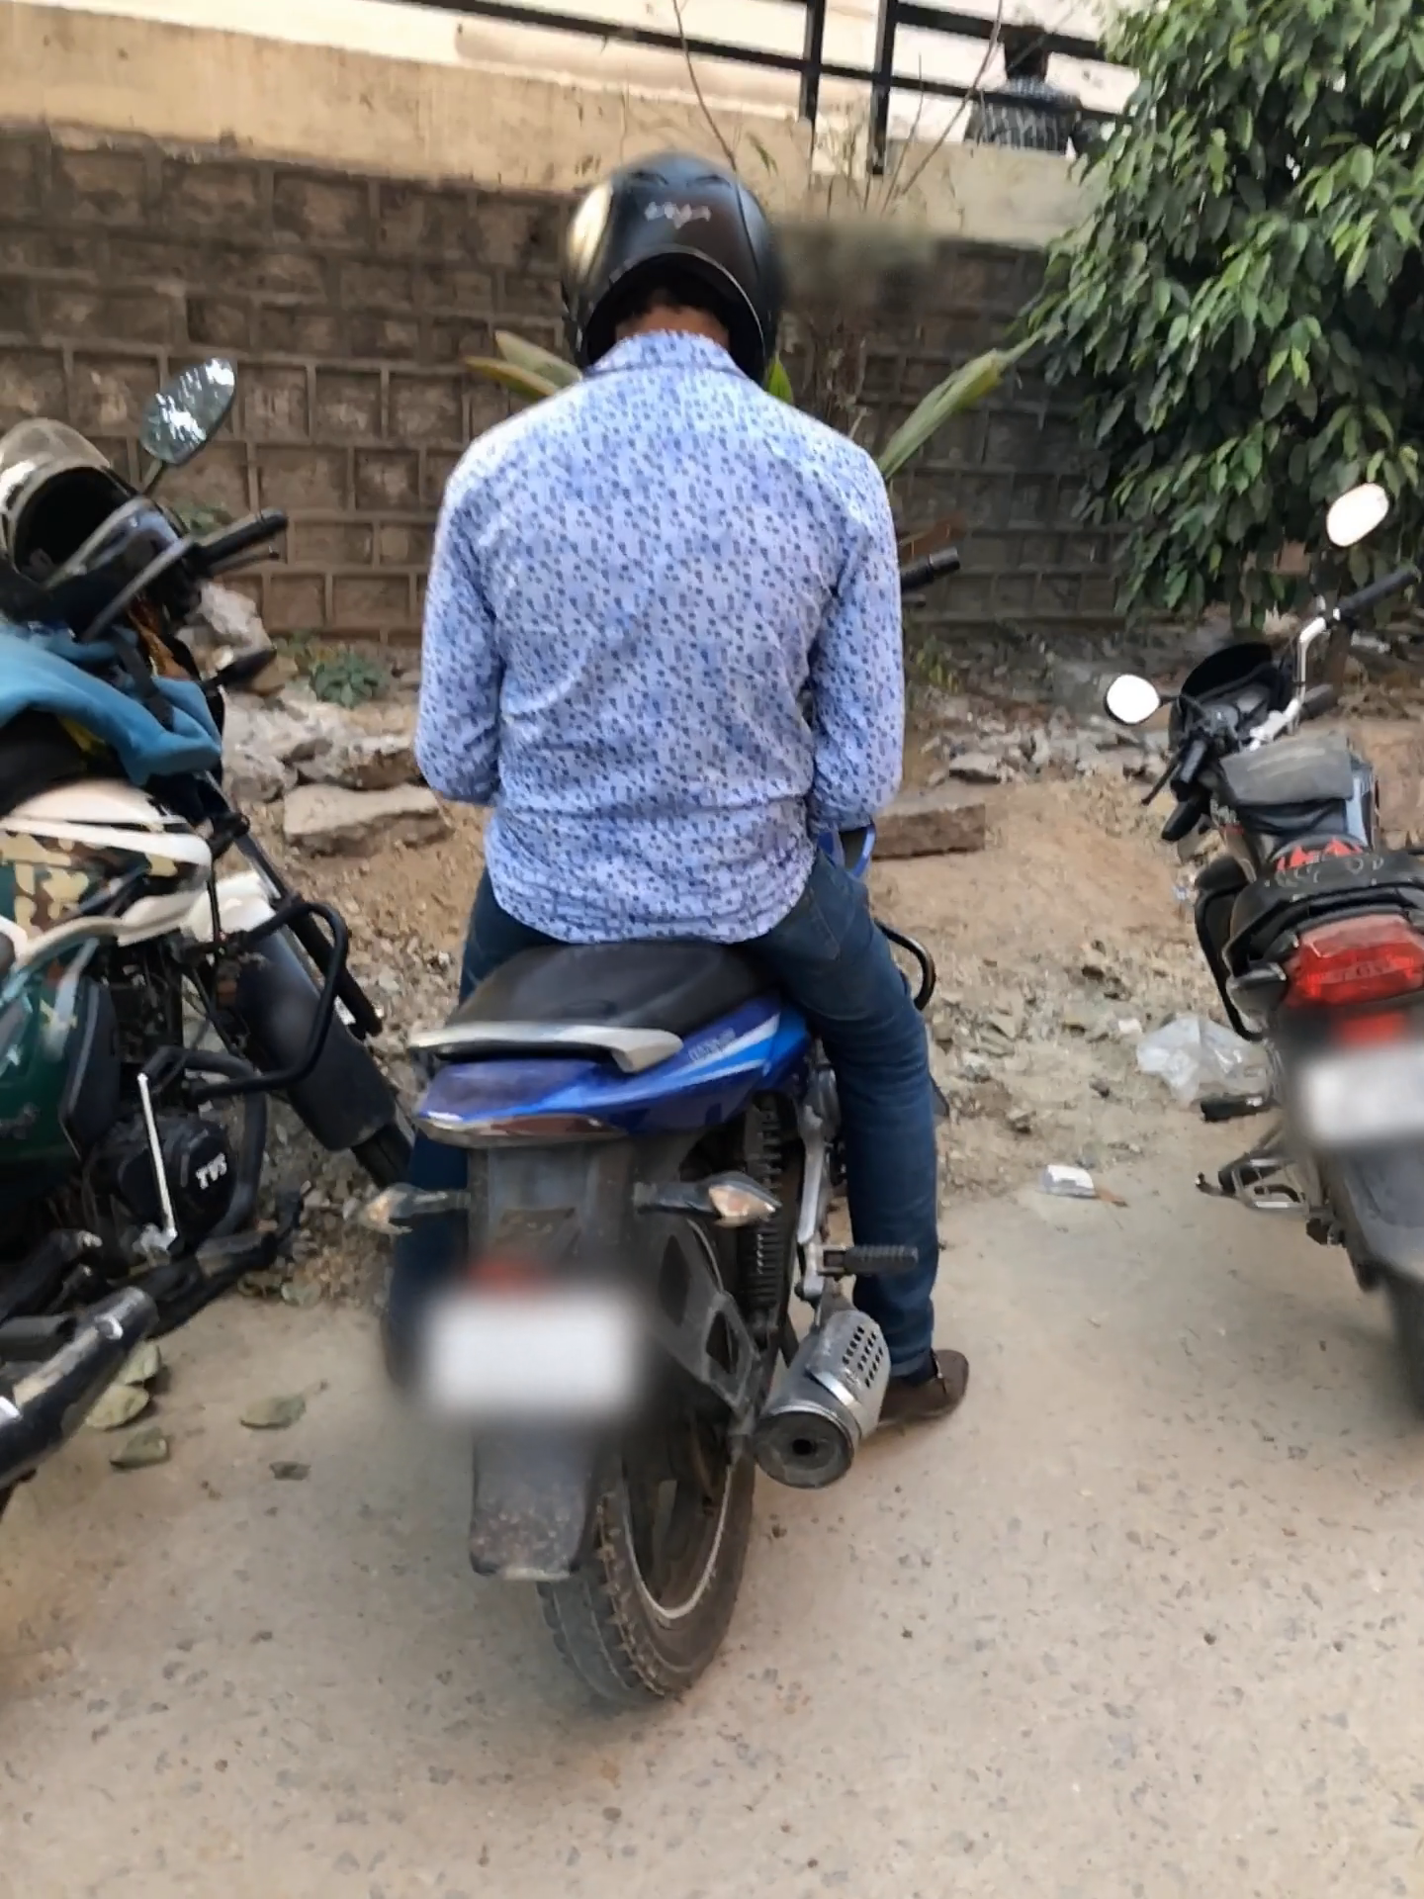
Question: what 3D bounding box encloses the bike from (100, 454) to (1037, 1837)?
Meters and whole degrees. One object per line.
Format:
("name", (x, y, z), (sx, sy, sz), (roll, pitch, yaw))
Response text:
("bike", (-0.030, 0.011, 2.120), (0.754, 1.077, 1.584), (7, 24, 8))
